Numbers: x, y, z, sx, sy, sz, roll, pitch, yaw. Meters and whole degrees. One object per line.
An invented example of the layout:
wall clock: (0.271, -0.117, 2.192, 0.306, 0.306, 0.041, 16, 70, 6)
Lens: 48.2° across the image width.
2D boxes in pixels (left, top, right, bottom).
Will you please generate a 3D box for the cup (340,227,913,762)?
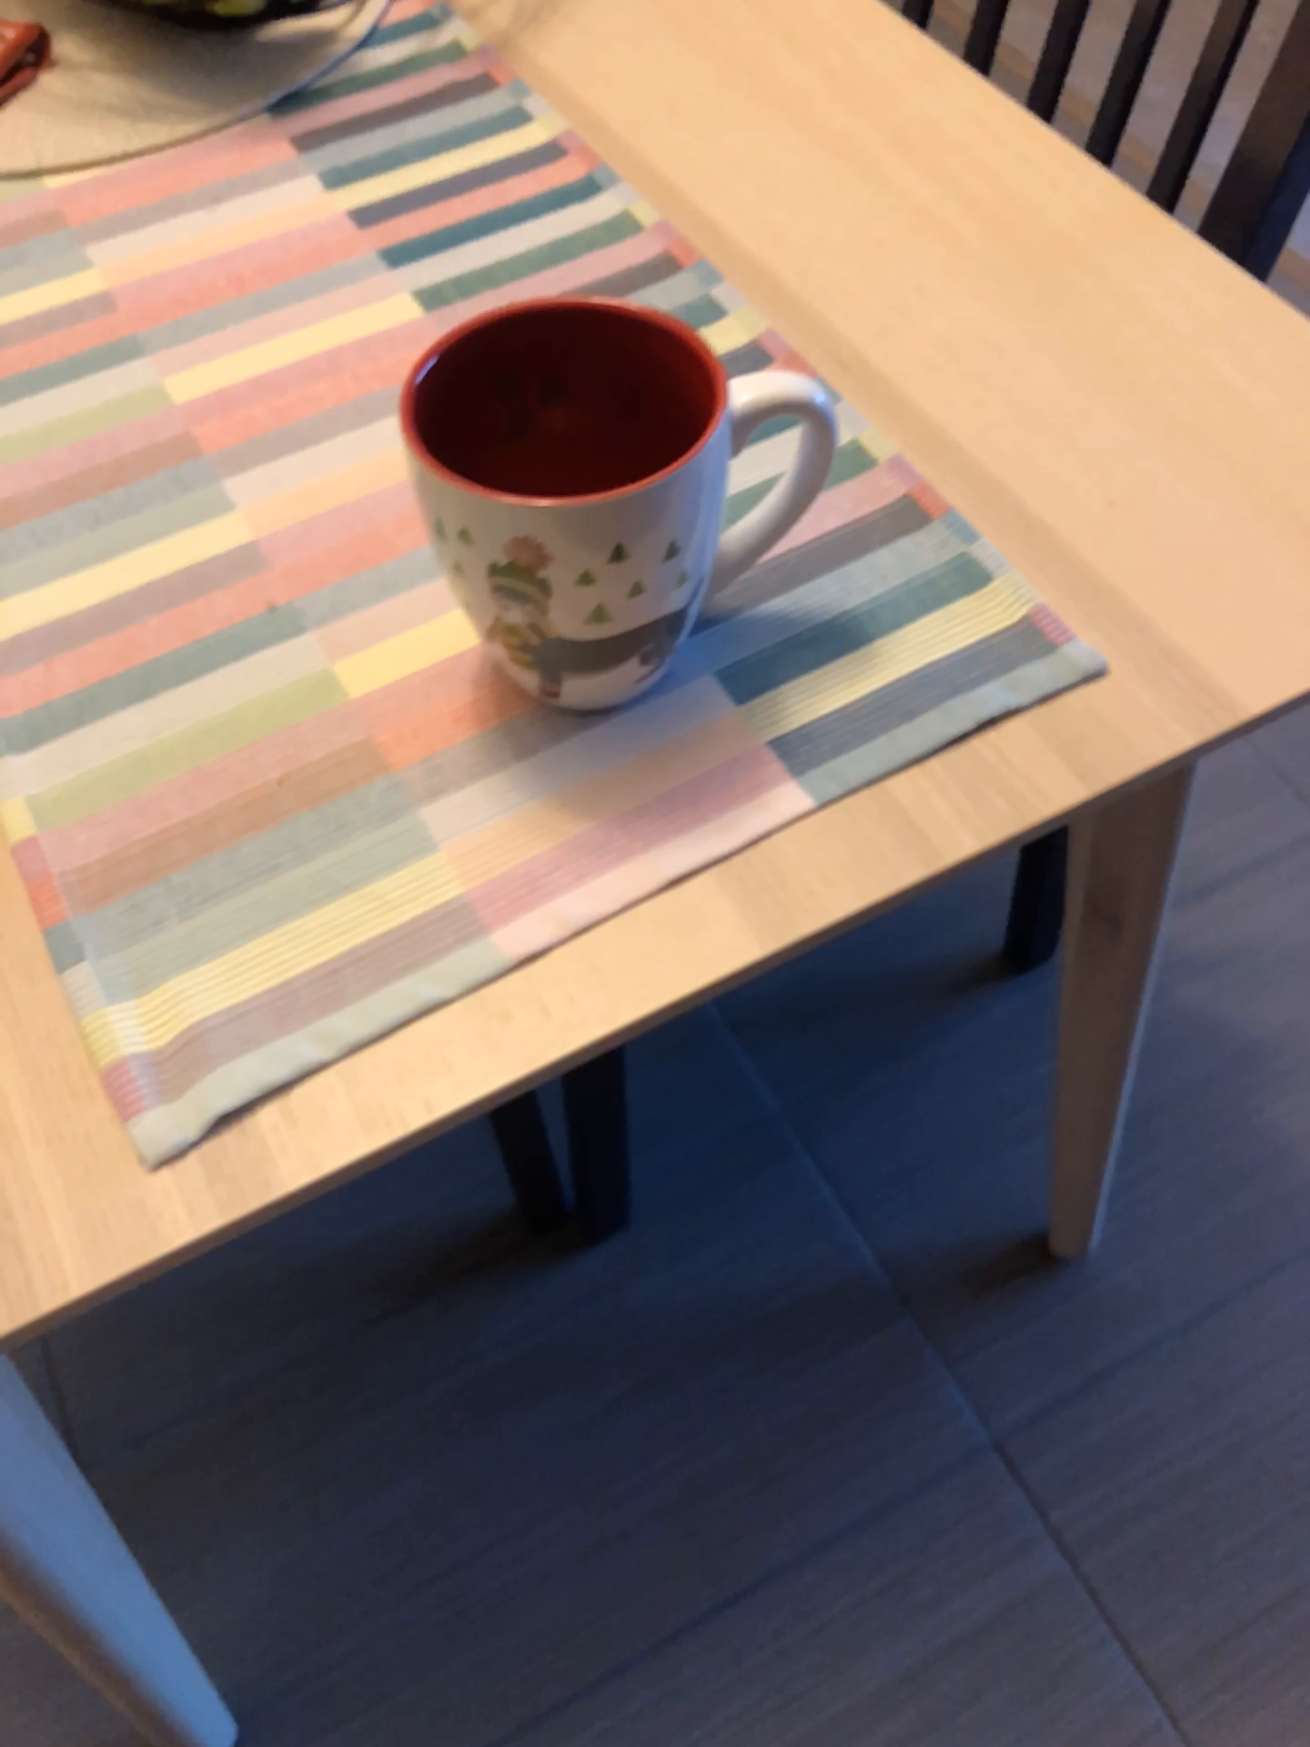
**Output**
cup: (-0.010, -0.117, 0.450, 0.140, 0.090, 0.100, -15, 55, -8)
